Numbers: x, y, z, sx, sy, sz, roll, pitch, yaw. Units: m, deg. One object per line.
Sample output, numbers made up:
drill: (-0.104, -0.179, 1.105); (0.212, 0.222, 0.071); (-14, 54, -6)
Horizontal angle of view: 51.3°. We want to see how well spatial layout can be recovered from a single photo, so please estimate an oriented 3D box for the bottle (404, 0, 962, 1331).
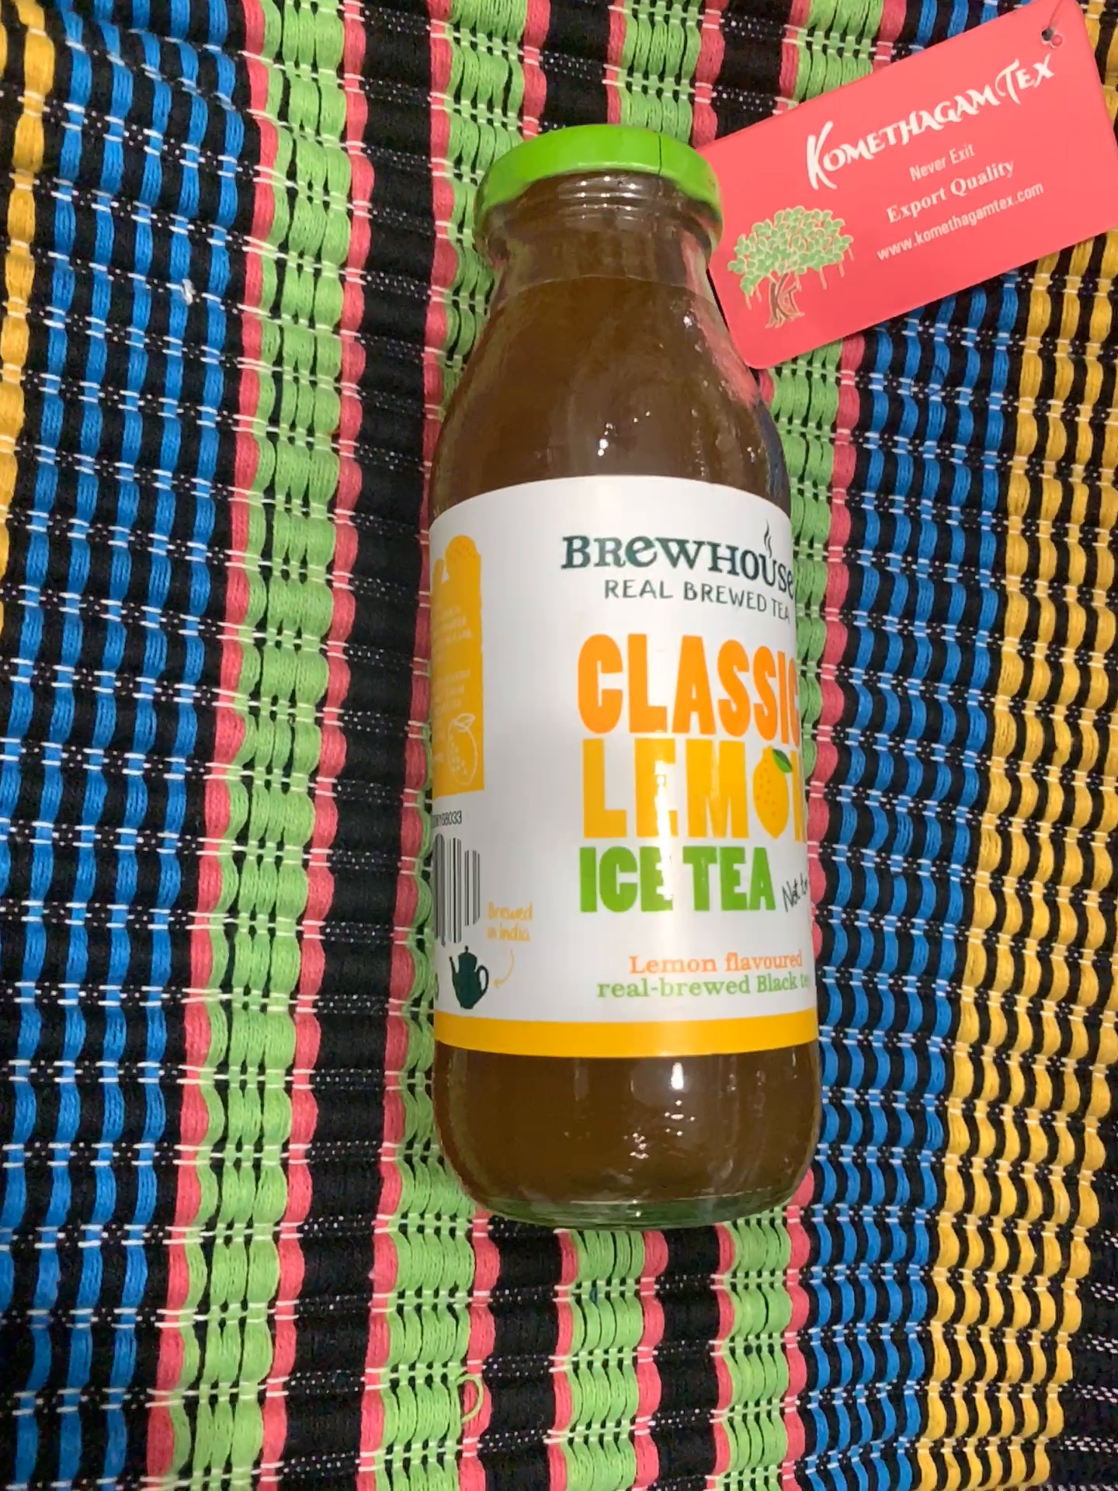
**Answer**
bottle: (0.015, -0.017, 0.184); (0.060, 0.050, 0.180); (1, 82, -27)
